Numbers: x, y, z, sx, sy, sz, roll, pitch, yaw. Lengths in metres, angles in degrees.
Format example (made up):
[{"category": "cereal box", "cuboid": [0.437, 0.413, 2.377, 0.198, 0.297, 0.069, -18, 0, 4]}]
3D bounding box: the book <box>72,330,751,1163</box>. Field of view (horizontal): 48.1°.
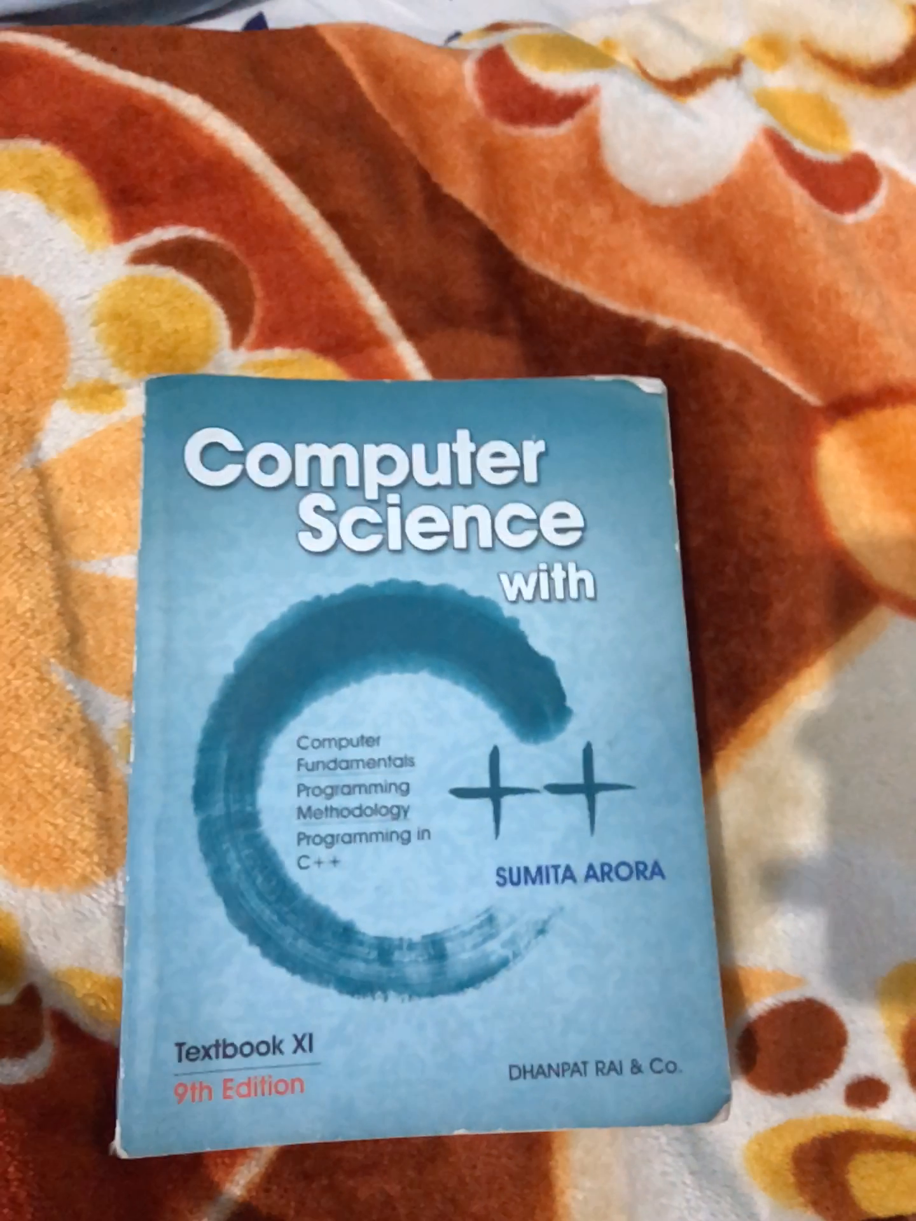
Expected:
[{"category": "book", "cuboid": [-0.017, 0.036, 0.366, 0.210, 0.040, 0.270, 0, 77, -7]}]
